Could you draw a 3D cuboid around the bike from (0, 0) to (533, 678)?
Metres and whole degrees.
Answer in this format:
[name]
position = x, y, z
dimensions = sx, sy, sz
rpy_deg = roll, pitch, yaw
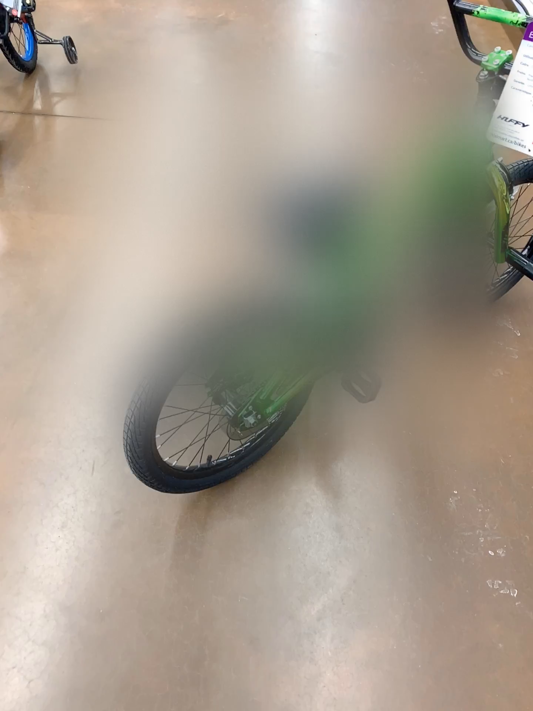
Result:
[bike]
position = 0.390, -0.232, 1.104
dimensions = 1.408, 1.034, 0.719
rpy_deg = -31, 55, -19
